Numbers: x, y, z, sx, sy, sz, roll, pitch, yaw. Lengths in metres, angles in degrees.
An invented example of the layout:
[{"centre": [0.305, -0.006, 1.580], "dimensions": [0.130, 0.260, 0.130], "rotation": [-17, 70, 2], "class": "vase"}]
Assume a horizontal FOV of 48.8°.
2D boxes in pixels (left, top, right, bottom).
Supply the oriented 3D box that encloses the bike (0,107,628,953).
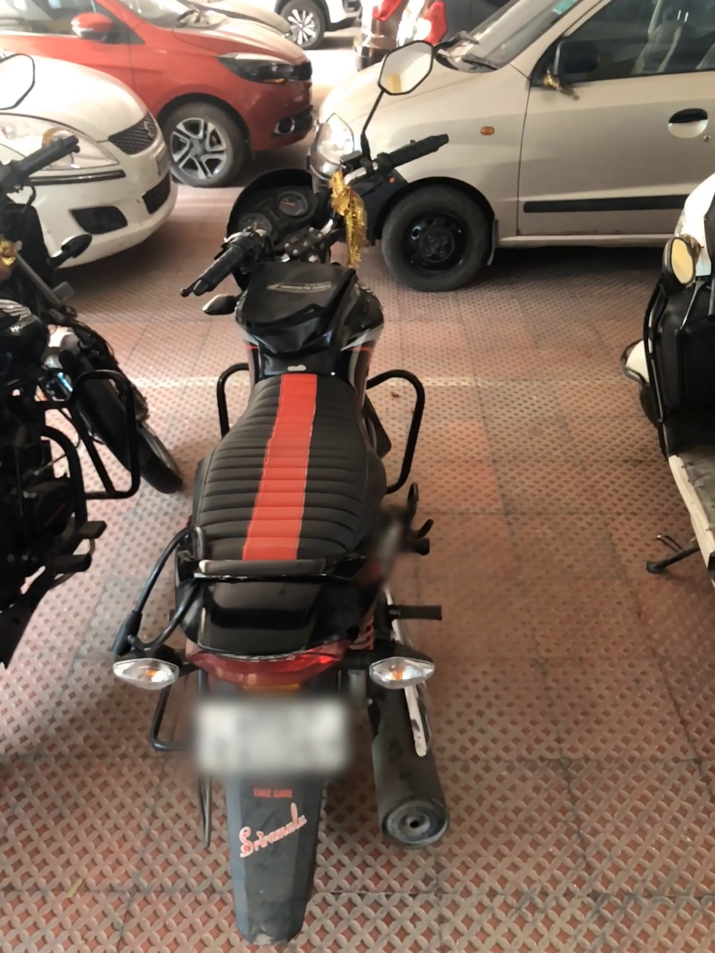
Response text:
[{"centre": [-0.239, -0.071, 1.664], "dimensions": [0.746, 1.010, 1.562], "rotation": [-5, 35, -6], "class": "bike"}]
